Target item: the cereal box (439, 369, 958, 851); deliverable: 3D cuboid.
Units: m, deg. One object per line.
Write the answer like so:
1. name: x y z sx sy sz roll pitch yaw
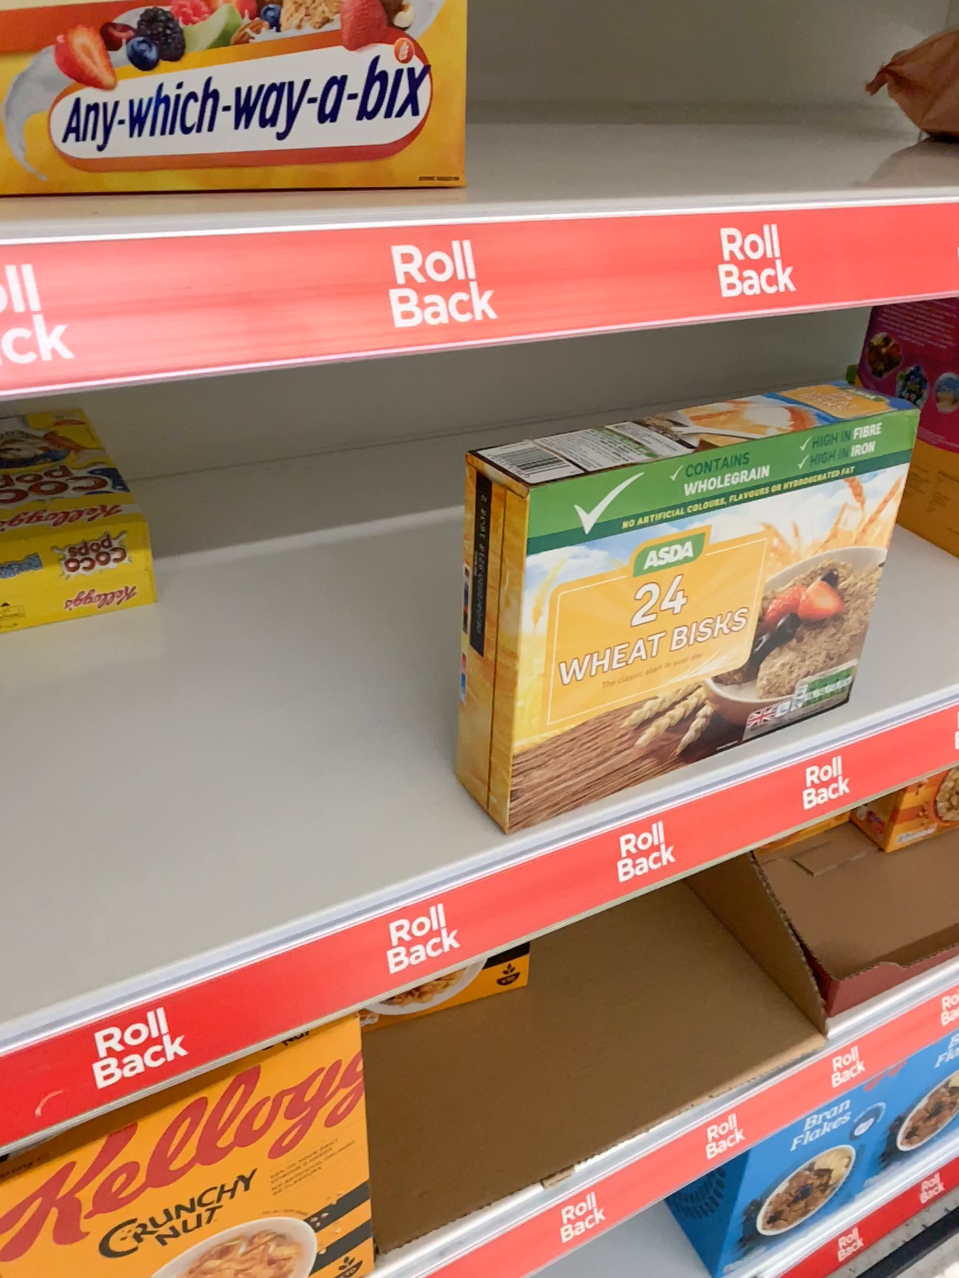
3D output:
1. cereal box: 0.113 -0.025 0.503 0.271 0.178 0.060 -16 36 -29
